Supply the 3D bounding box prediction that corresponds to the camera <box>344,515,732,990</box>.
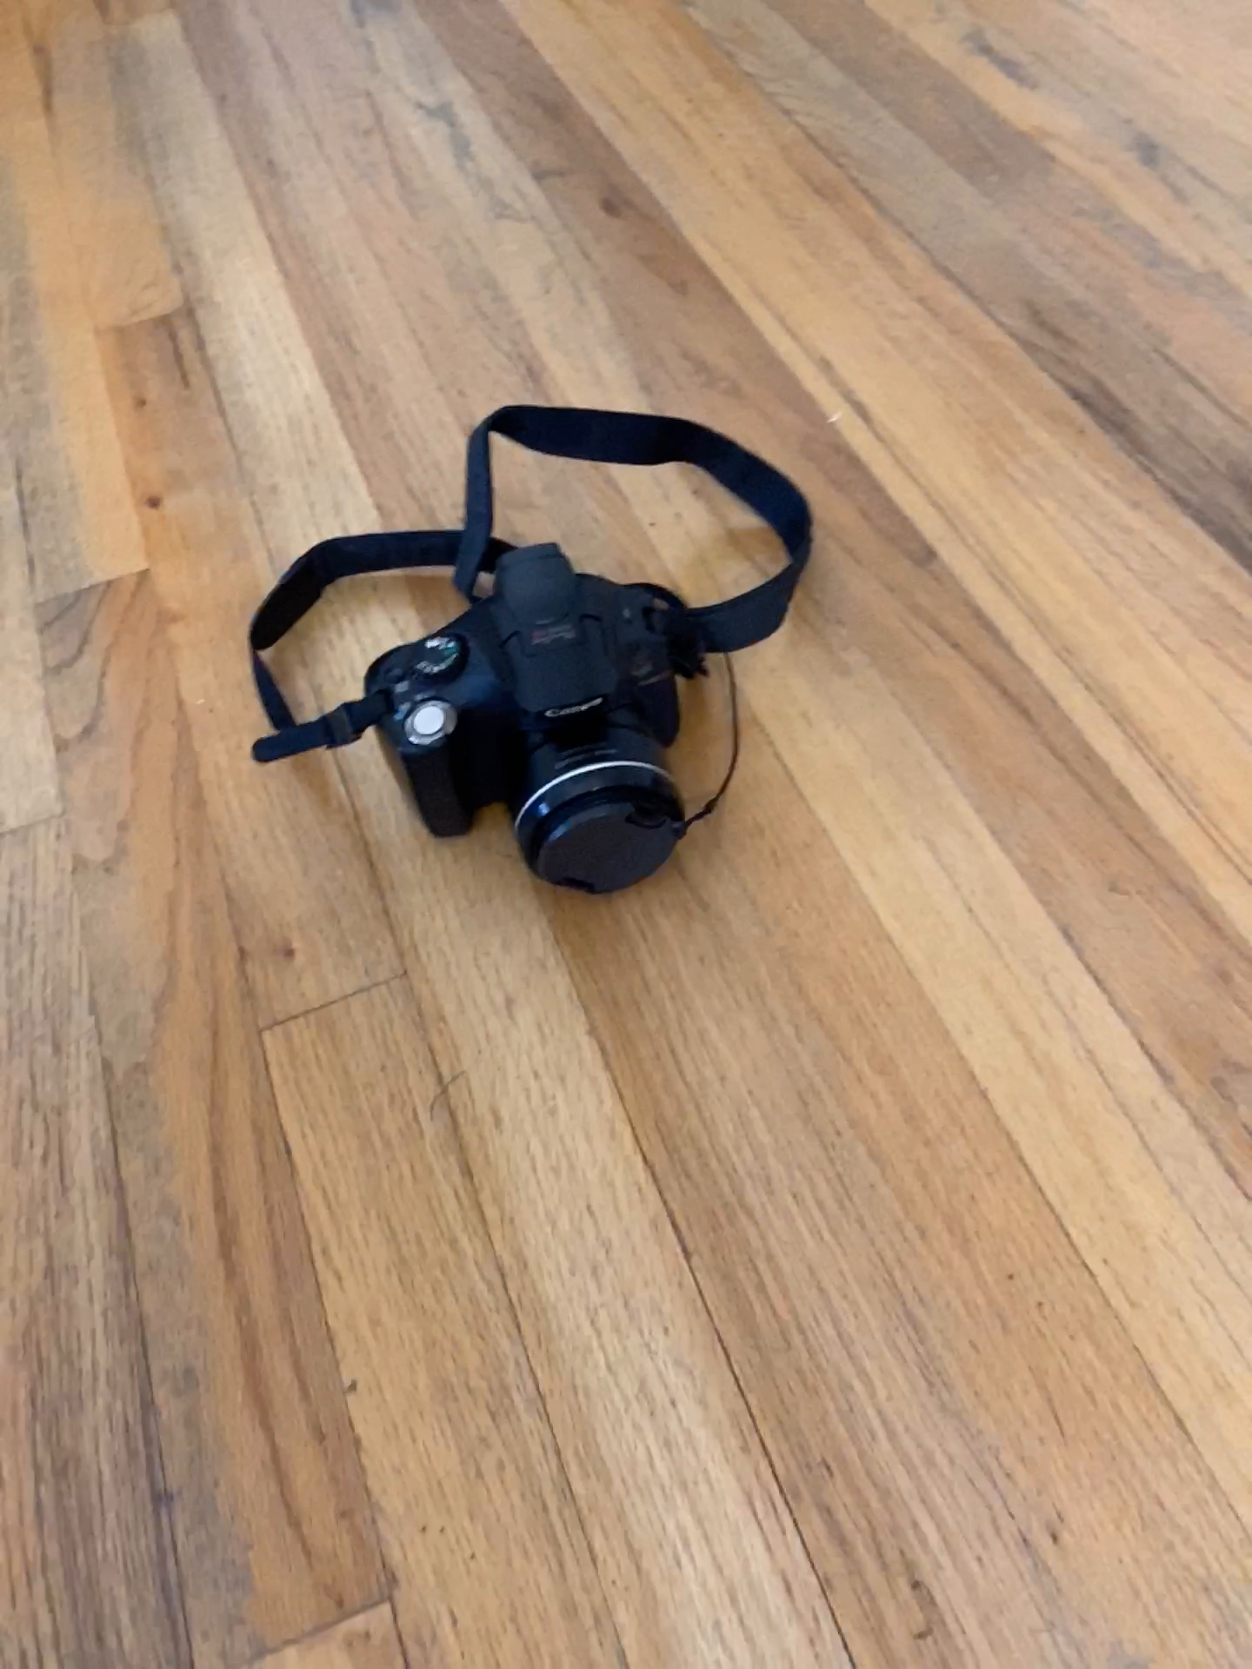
[{"bbox_3d":[-0.032,-0.032,0.508,0.110,0.110,0.121,-18,55,-6],"label":"camera"}]
